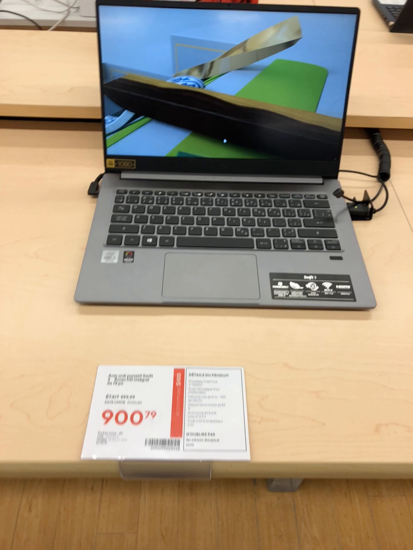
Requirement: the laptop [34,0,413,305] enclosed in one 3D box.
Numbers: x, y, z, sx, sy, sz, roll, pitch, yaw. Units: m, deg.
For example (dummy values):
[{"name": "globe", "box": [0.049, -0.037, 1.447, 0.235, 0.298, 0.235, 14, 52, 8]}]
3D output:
[{"name": "laptop", "box": [0.024, -0.147, 0.512, 0.315, 0.177, 0.312, 1, 49, -2]}]
